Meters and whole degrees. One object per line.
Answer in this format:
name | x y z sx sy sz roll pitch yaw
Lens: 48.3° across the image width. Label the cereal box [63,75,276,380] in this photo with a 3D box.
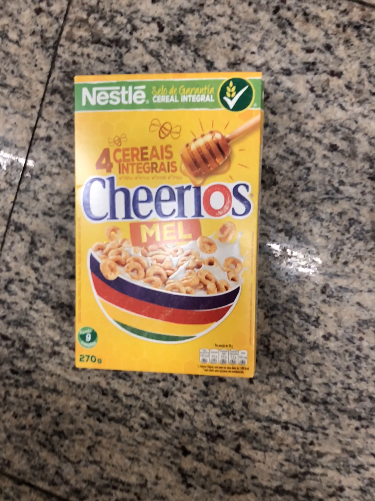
cereal box | -0.015 -0.018 0.367 0.170 0.060 0.240 1 93 6
